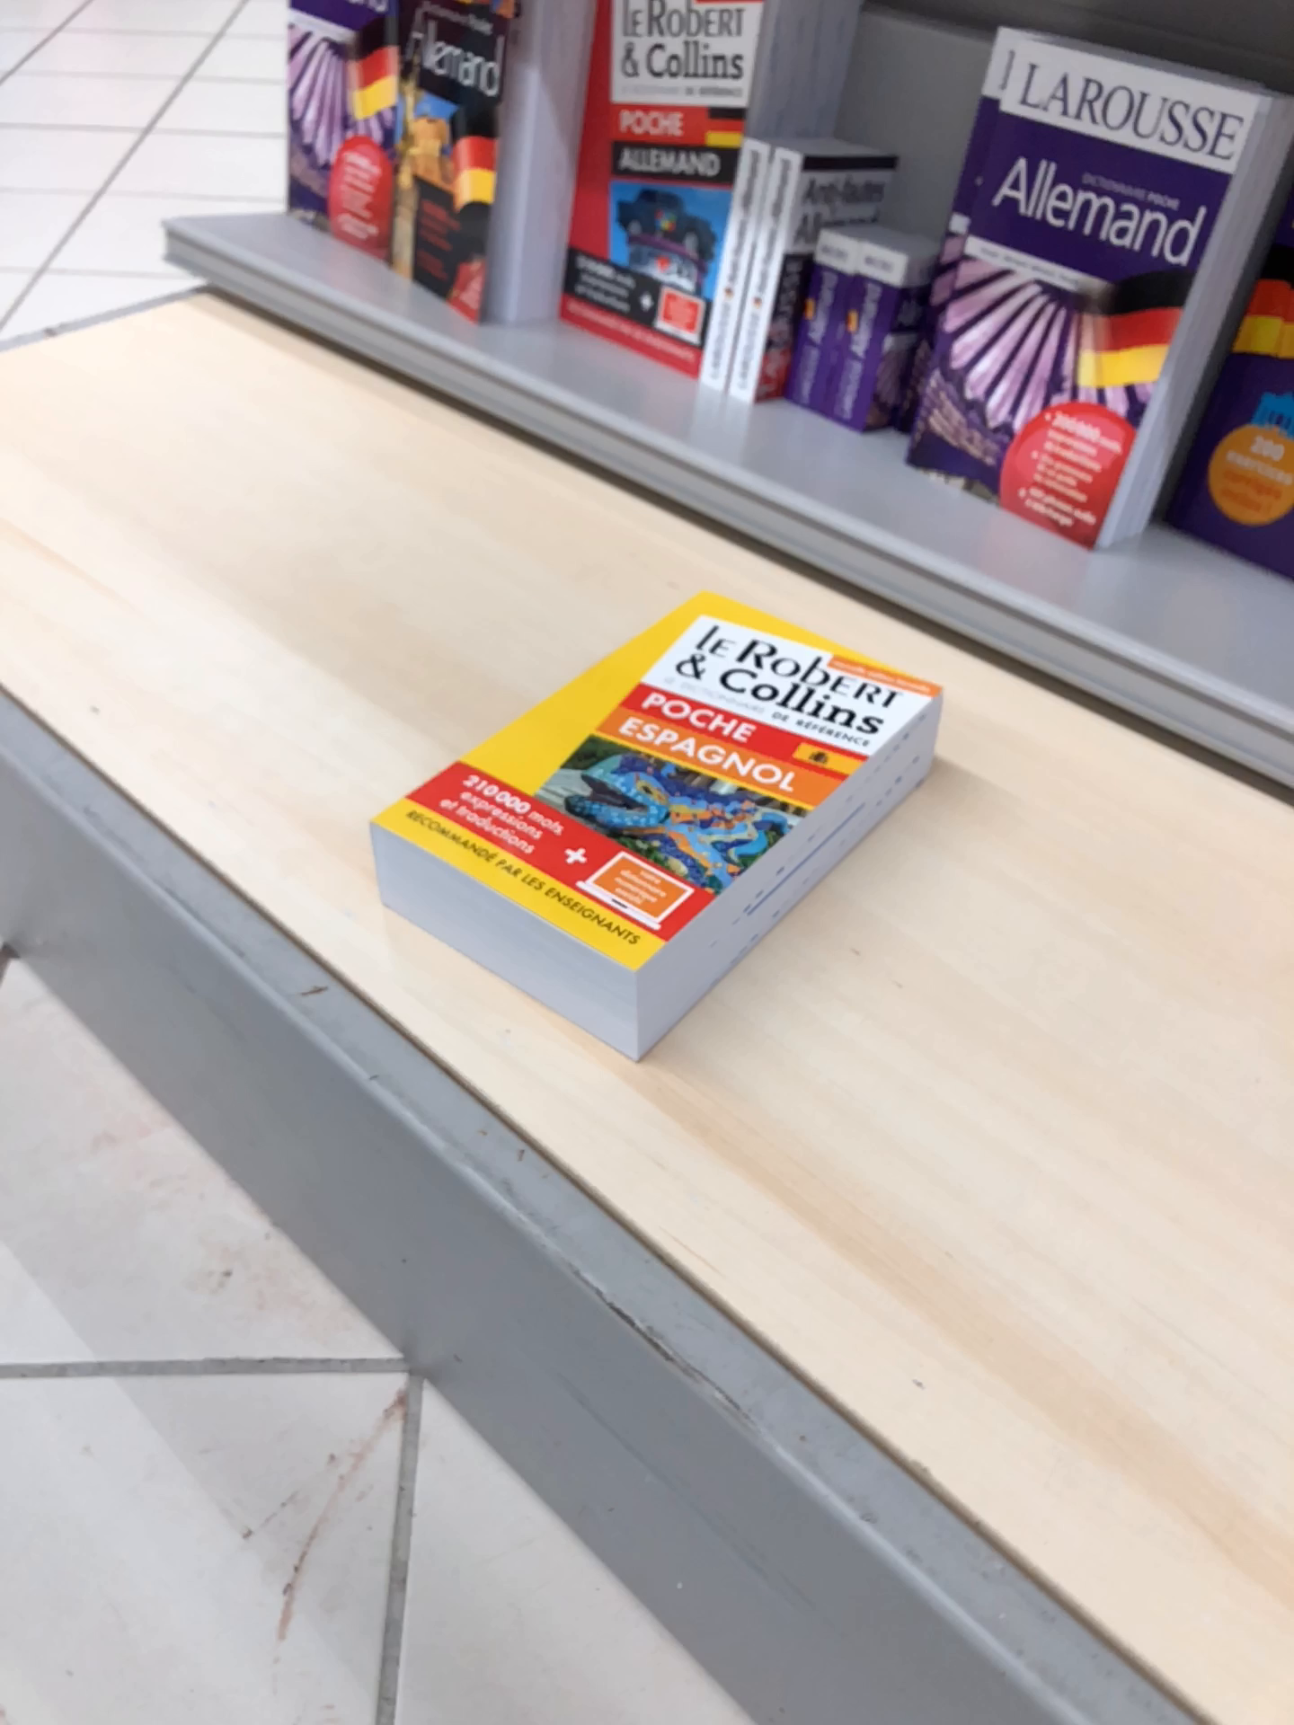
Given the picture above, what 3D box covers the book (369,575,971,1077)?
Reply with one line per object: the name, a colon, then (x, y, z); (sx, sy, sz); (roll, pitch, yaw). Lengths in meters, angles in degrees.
book: (0.013, -0.023, 0.482); (0.110, 0.040, 0.181); (29, 49, 26)
